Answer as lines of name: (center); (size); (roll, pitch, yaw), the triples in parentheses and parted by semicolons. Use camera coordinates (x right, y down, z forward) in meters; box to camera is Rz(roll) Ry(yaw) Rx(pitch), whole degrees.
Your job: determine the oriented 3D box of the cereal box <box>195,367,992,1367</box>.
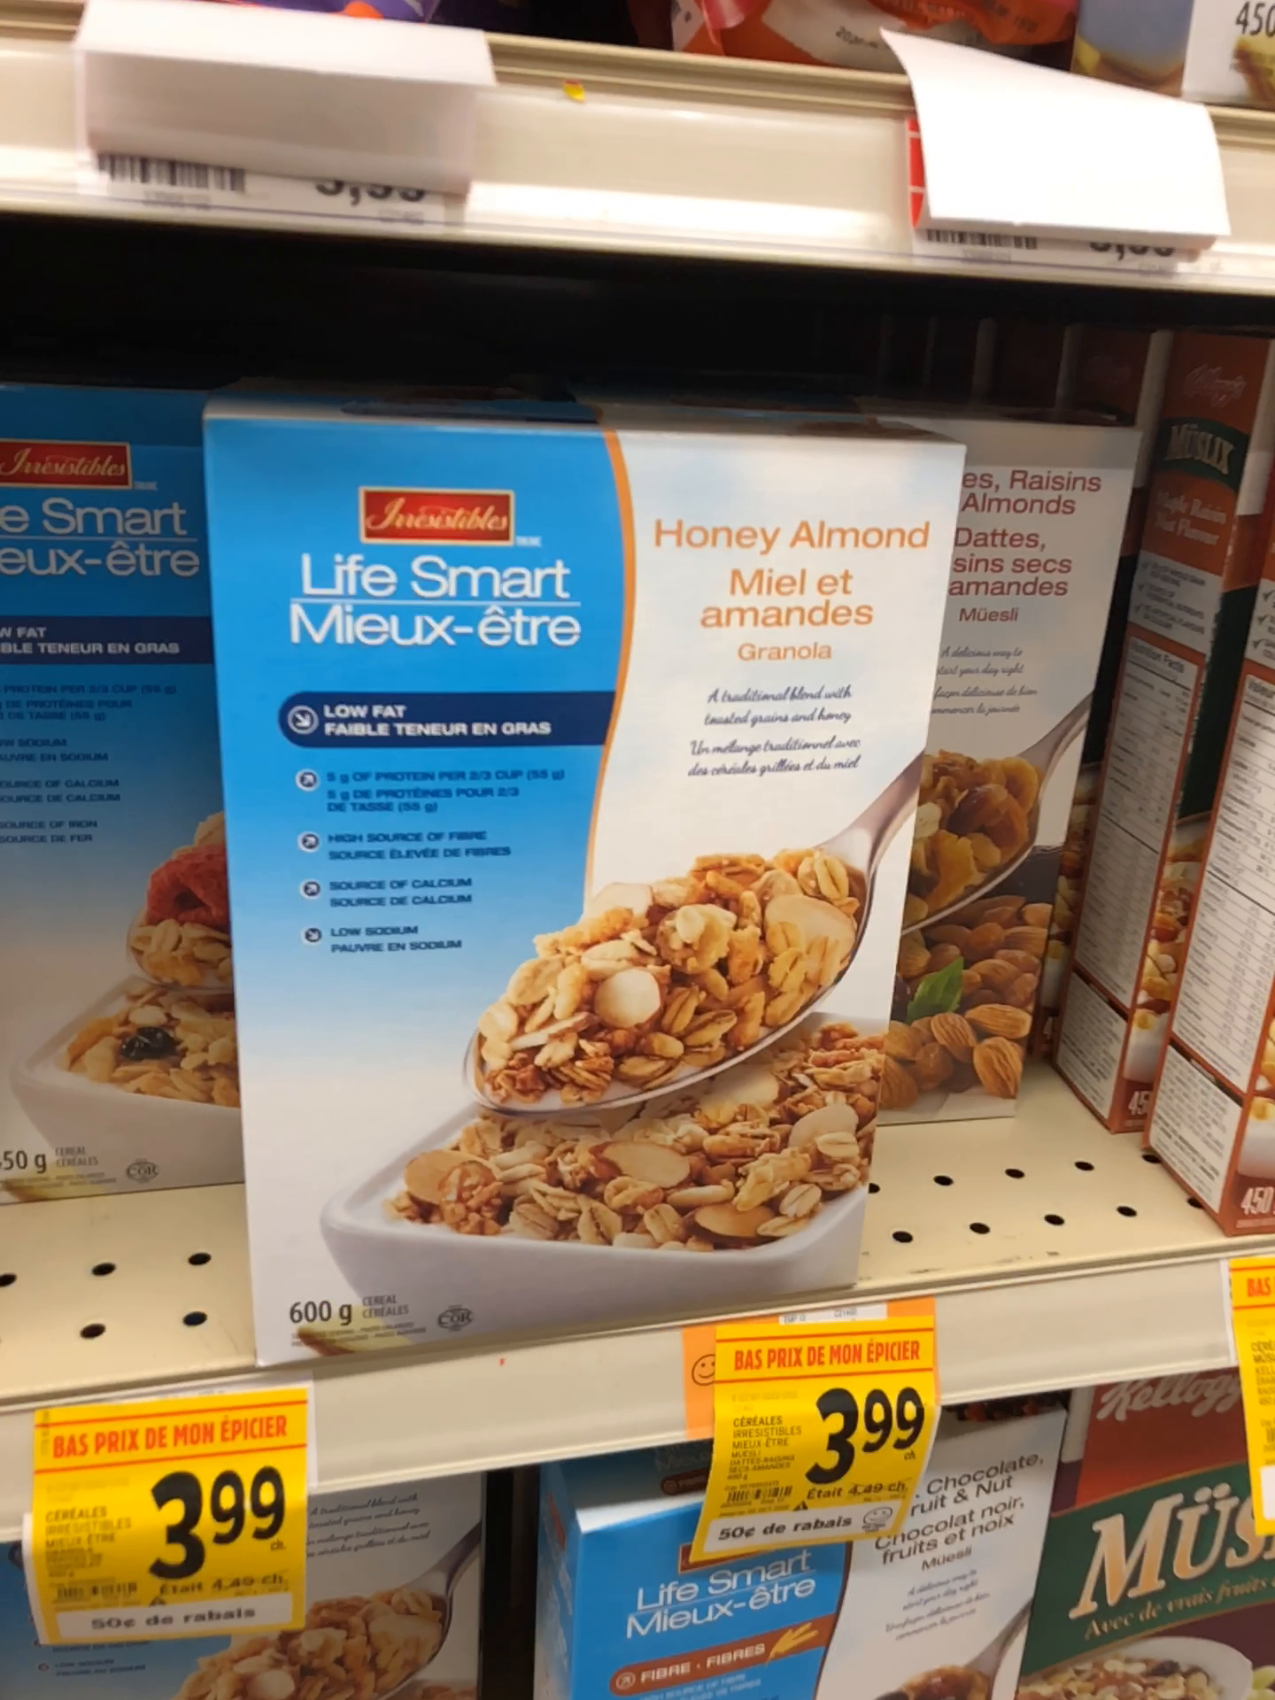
cereal box: (-0.017, 0.007, 0.364); (0.170, 0.238, 0.060); (-2, 22, -14)
